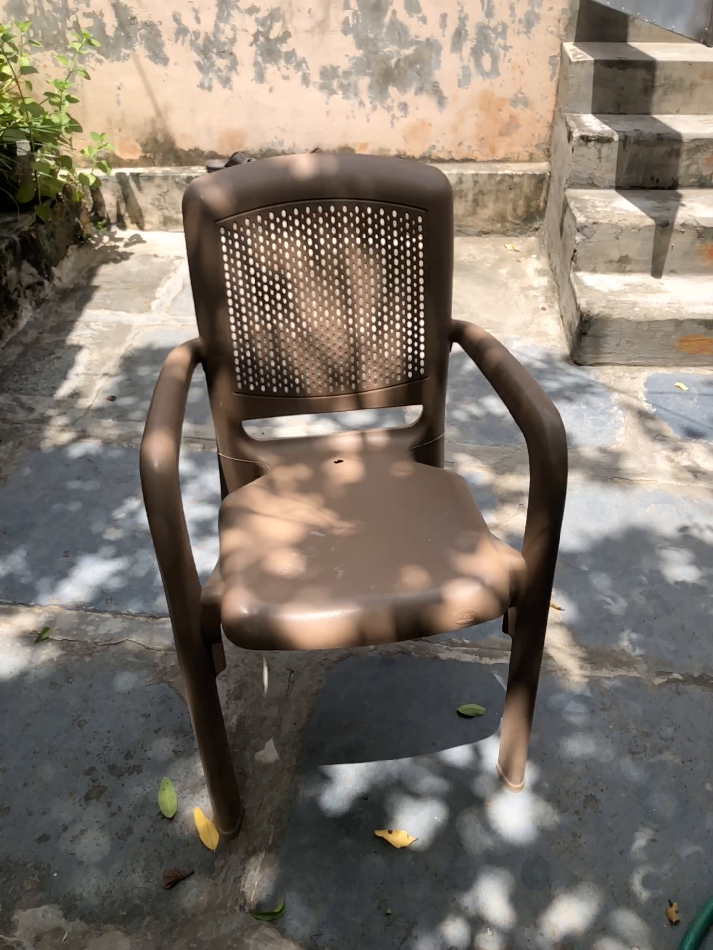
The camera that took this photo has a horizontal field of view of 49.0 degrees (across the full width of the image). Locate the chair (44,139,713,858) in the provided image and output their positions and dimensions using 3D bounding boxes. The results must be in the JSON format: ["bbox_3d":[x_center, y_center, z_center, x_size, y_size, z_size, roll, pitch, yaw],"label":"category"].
[{"bbox_3d":[0.010,0.017,1.222,0.630,0.825,0.683,-5,38,-5],"label":"chair"}]
